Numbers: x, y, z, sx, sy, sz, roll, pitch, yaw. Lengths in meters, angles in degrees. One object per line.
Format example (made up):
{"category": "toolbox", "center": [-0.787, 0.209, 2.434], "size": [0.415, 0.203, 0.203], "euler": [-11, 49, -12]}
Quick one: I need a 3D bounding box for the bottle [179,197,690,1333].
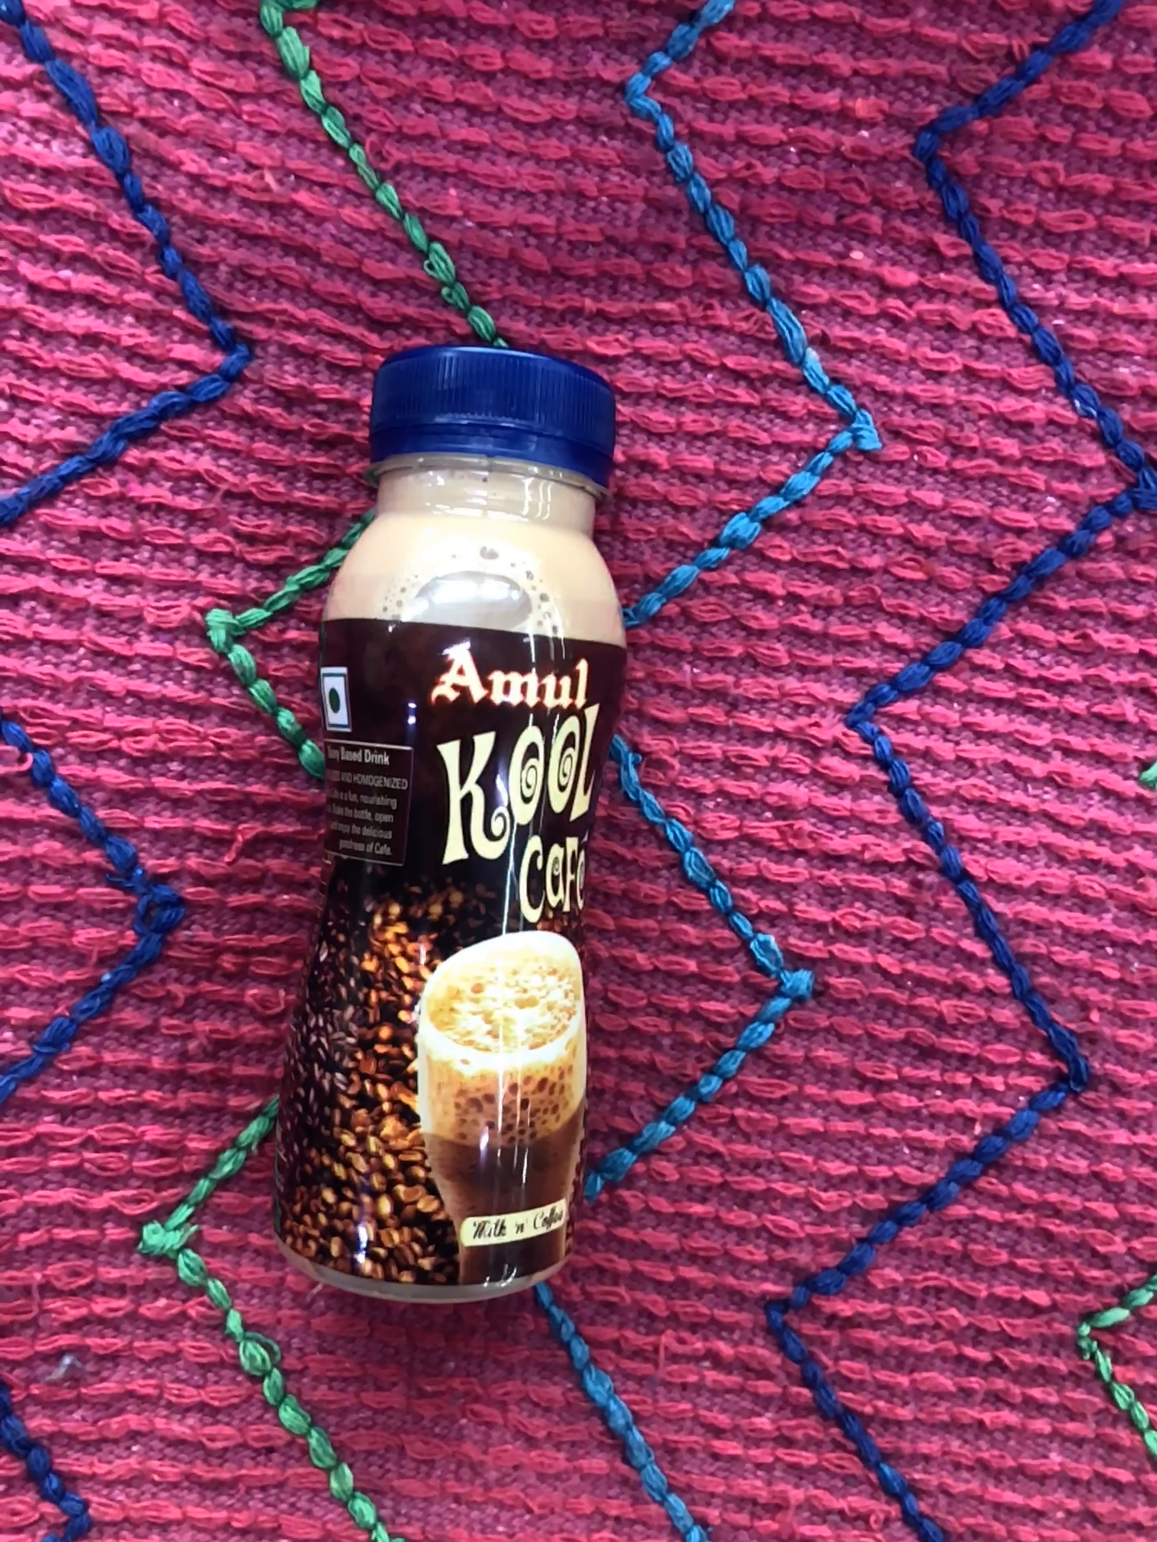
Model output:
{"category": "bottle", "center": [-0.024, -0.001, 0.210], "size": [0.050, 0.060, 0.150], "euler": [2, 90, -44]}
